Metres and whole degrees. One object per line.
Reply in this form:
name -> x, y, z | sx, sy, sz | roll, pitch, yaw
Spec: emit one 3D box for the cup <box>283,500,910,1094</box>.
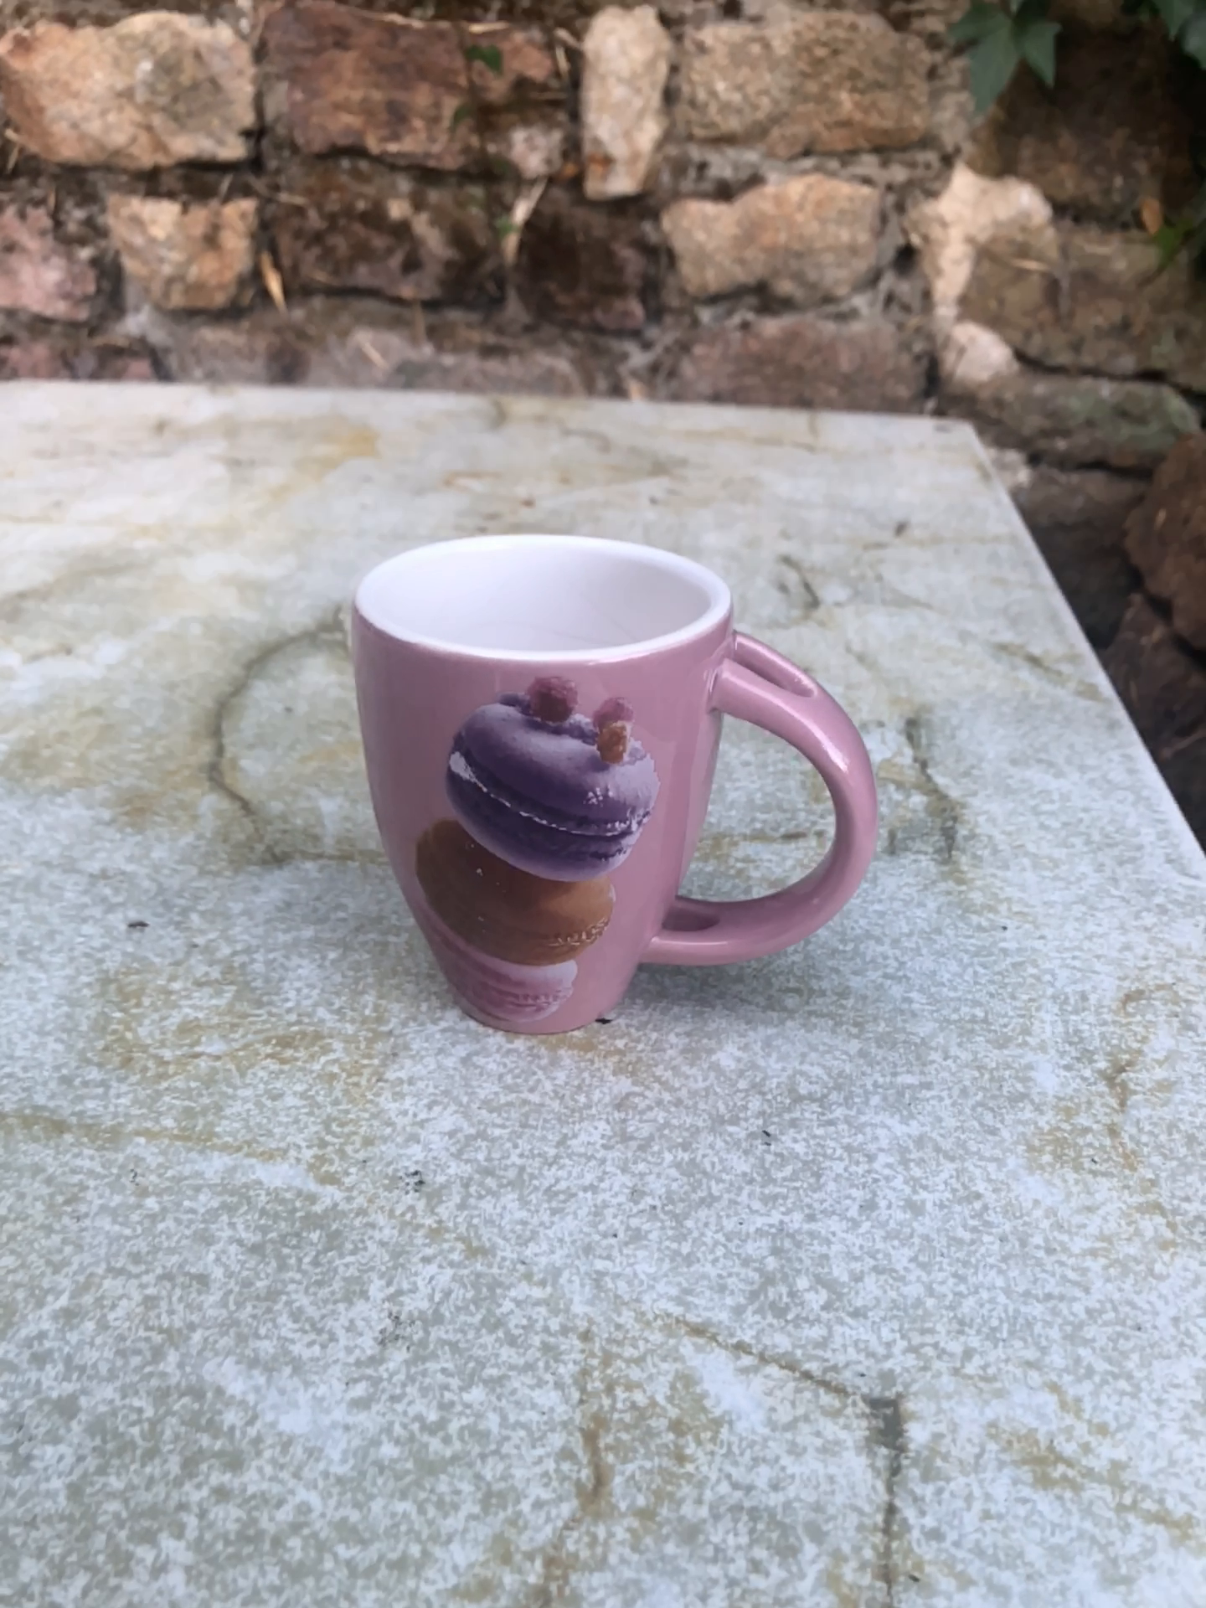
cup -> 0.003, -0.008, 0.276 | 0.099, 0.080, 0.080 | 10, 29, 18
